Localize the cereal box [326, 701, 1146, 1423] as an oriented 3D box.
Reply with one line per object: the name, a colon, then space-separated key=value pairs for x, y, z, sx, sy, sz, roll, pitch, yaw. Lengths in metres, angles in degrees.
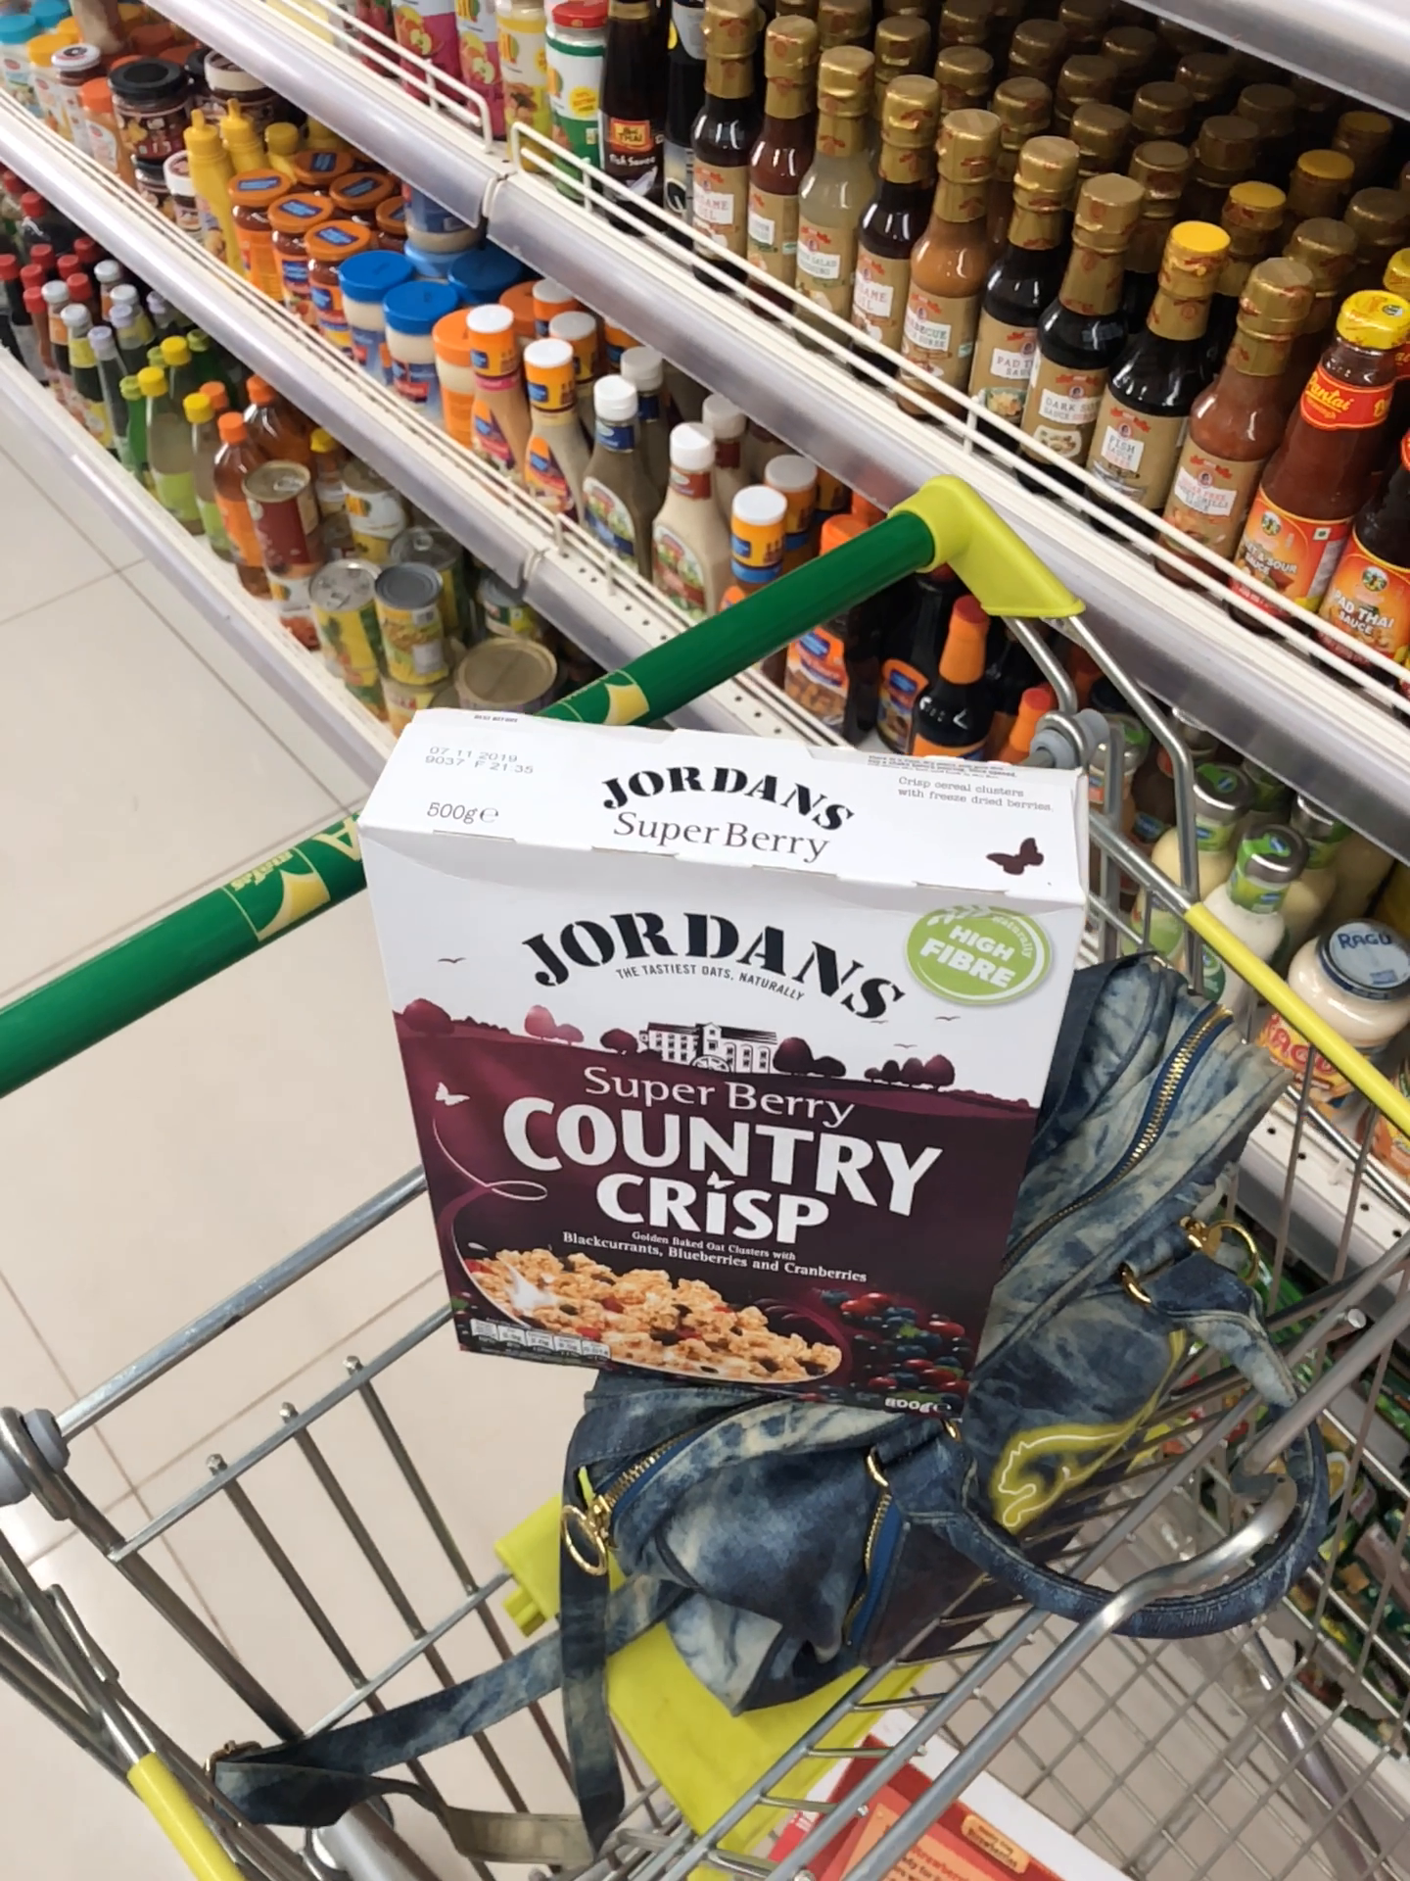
cereal box: x=0.005 y=0.048 z=0.441 sx=0.180 sy=0.229 sz=0.050 roll=5 pitch=45 yaw=3
